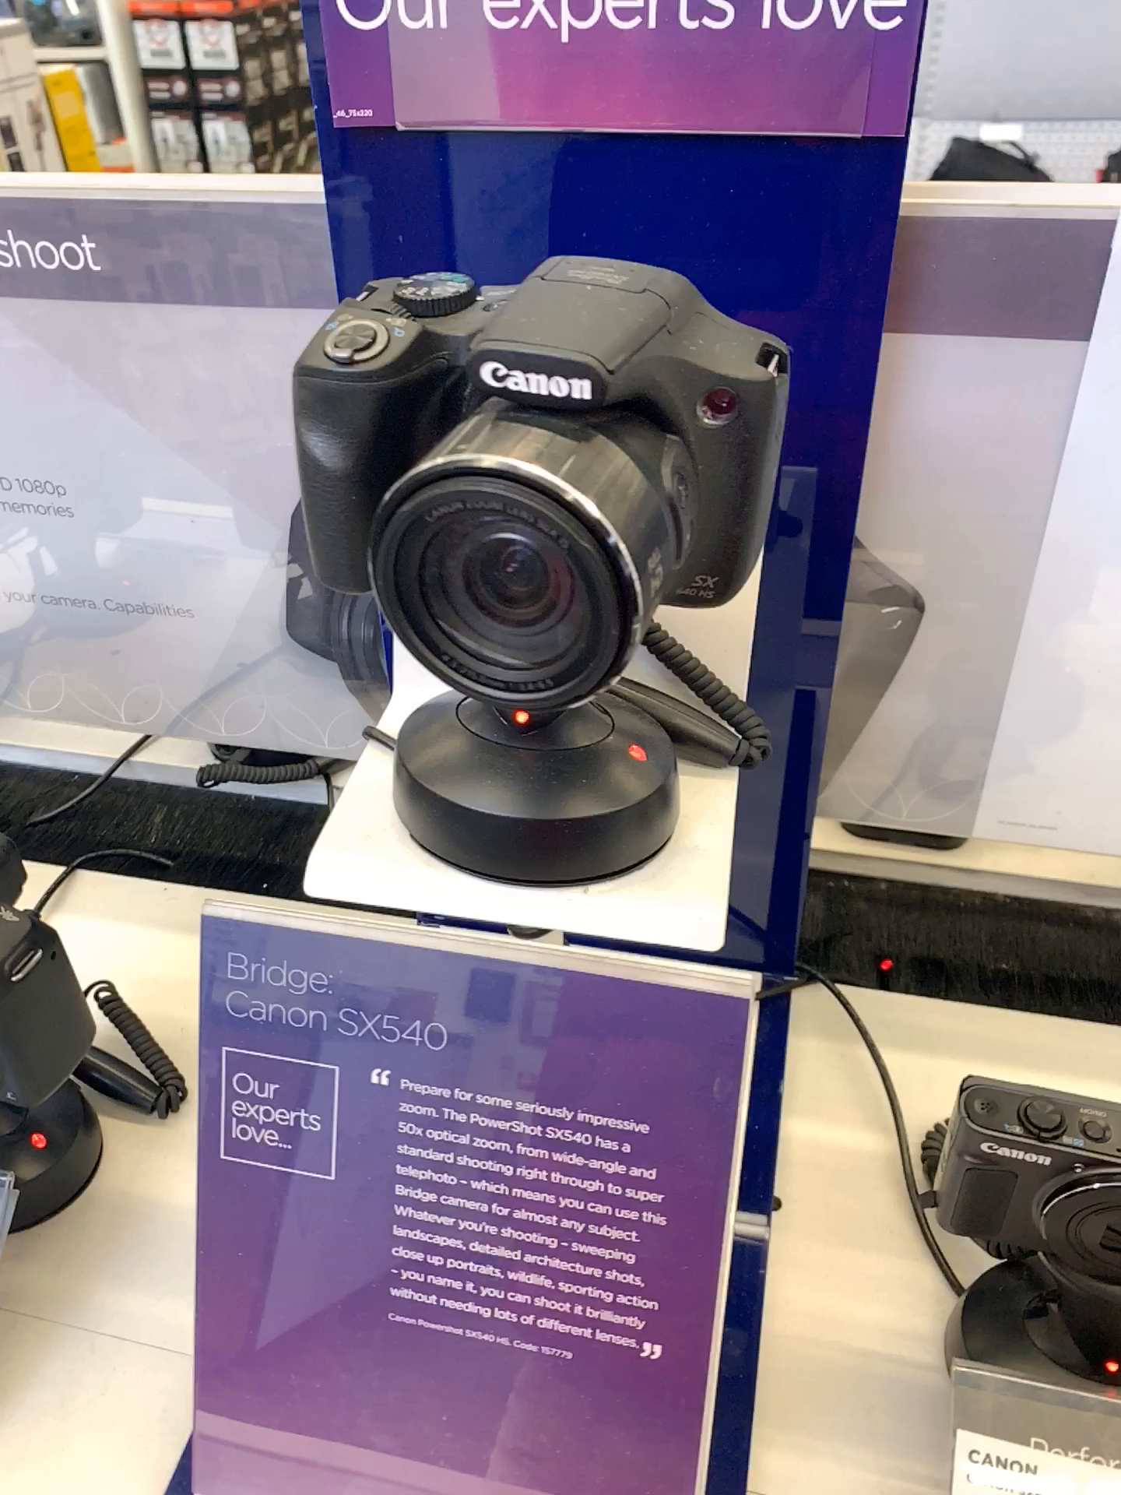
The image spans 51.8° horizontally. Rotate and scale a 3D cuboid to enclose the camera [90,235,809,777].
[{"bbox_3d":[-0.015,-0.065,0.268,0.120,0.069,0.111,11,39,16],"label":"camera"}]
